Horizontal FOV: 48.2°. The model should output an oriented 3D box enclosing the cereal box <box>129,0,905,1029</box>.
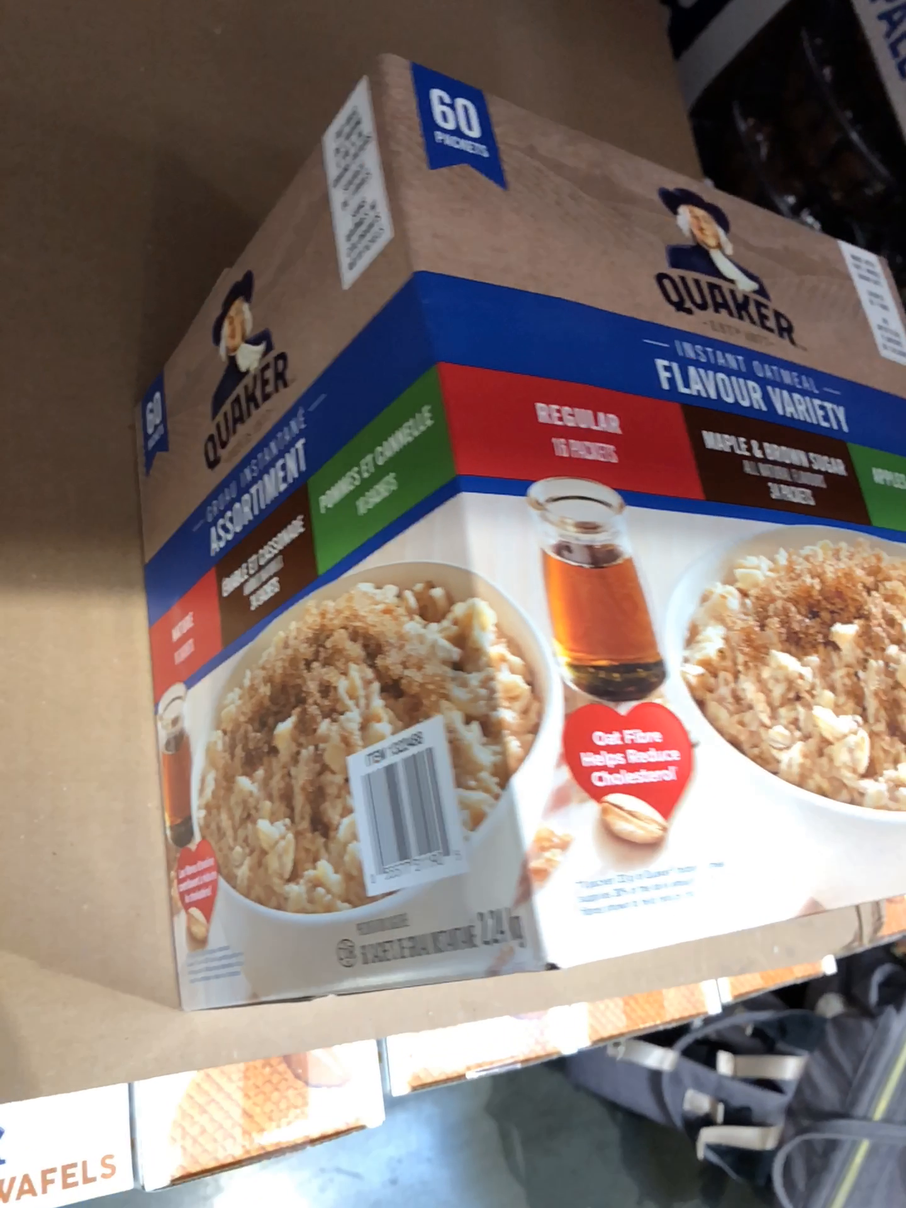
[{"bbox_3d":[0.040,-0.009,0.375,0.241,0.199,0.260,4,67,-35],"label":"cereal box"}]
